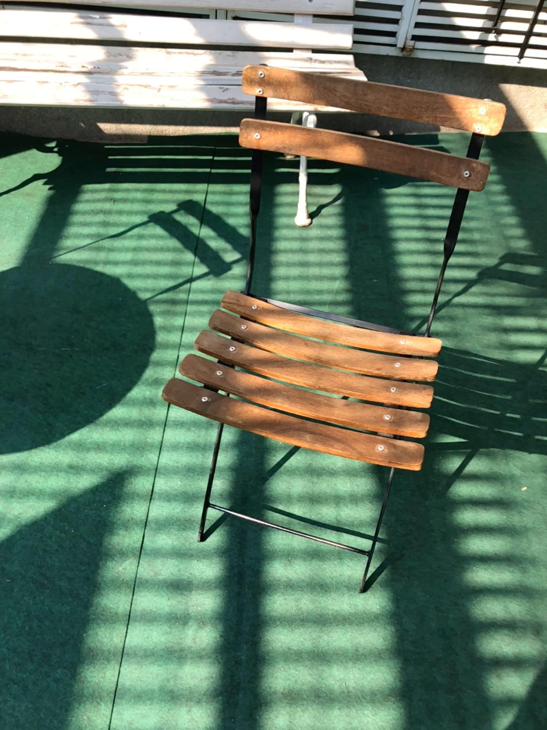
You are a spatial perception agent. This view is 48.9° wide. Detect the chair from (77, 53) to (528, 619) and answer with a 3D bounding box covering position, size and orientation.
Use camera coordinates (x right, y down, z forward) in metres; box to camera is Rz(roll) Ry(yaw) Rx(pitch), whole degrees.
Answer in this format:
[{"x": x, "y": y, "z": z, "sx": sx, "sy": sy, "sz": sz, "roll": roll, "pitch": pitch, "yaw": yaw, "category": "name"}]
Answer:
[{"x": 0.056, "y": -0.013, "z": 0.884, "sx": 0.390, "sy": 0.655, "sz": 0.403, "roll": 15, "pitch": 47, "yaw": 11, "category": "chair"}]
